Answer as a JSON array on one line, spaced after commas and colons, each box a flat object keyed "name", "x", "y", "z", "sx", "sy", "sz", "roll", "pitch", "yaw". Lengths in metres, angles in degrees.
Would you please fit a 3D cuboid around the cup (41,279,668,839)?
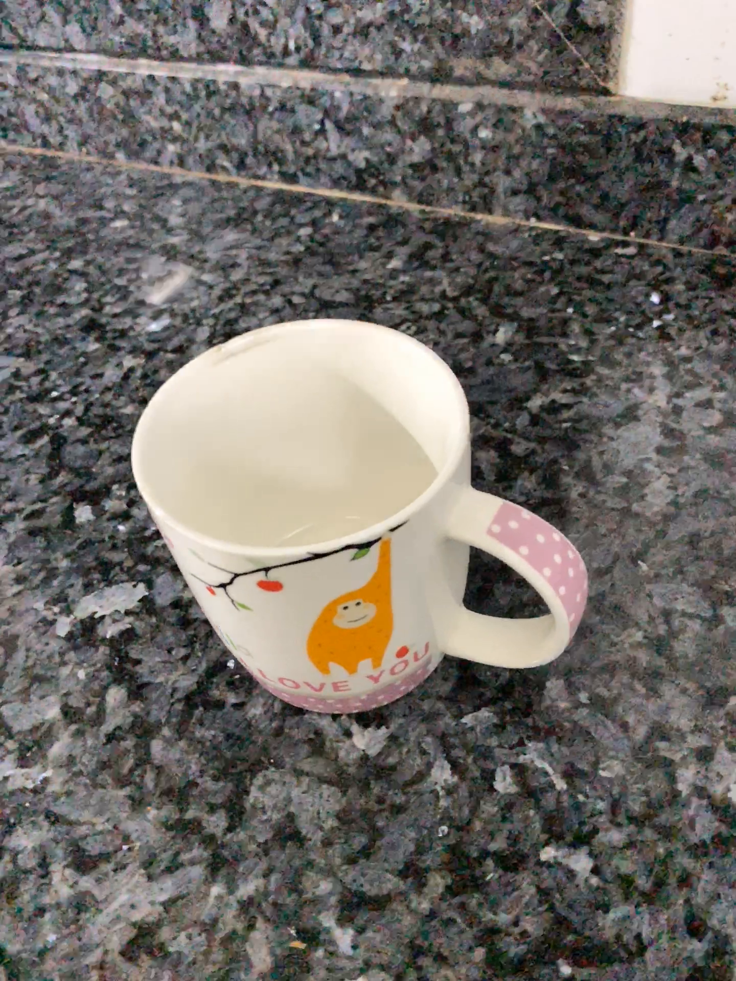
[{"name": "cup", "x": 0.001, "y": 0.014, "z": 0.208, "sx": 0.120, "sy": 0.089, "sz": 0.080, "roll": 18, "pitch": 54, "yaw": 23}]
